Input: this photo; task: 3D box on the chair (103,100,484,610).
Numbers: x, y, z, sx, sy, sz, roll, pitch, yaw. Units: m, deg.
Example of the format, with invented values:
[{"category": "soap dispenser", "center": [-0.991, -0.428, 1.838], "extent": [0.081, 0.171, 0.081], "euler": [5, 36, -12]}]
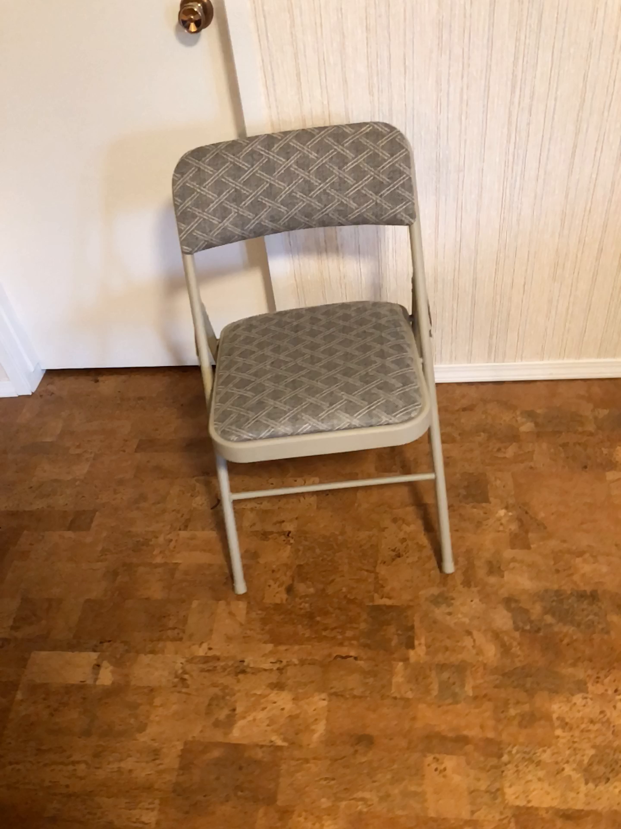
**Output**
[{"category": "chair", "center": [0.004, -0.090, 1.333], "extent": [0.490, 0.758, 0.562], "euler": [-6, 44, 3]}]
